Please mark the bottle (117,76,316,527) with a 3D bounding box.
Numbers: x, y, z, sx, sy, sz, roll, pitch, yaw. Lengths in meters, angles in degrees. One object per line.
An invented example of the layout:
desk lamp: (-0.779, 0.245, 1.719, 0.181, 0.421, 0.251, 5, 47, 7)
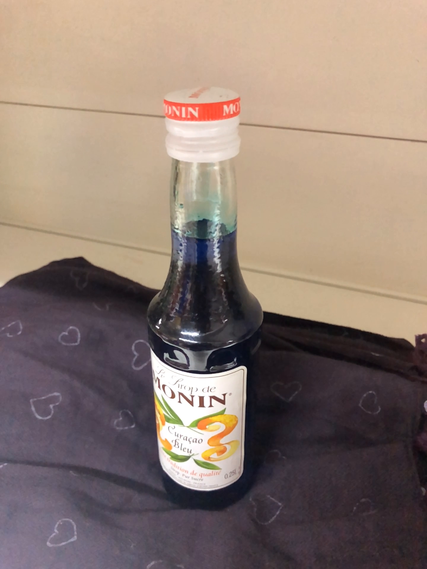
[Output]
bottle: (0.001, 0.018, 0.229, 0.060, 0.209, 0.050, 12, 31, 19)
